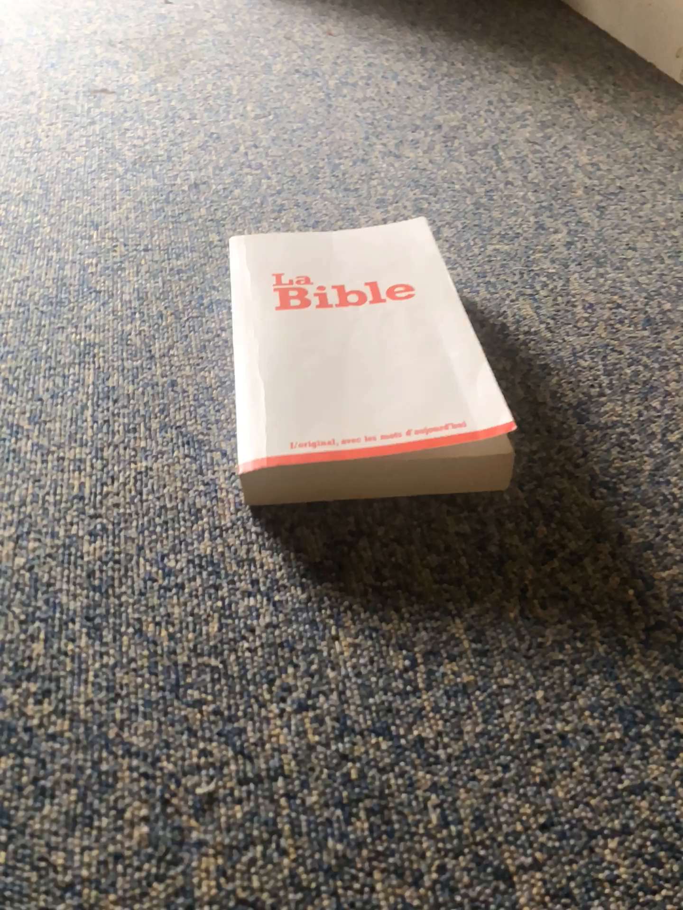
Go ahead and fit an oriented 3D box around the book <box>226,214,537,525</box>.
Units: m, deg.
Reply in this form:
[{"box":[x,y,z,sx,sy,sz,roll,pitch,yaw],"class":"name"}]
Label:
[{"box":[0.007,-0.062,0.420,0.133,0.042,0.212,-5,45,-7],"class":"book"}]
